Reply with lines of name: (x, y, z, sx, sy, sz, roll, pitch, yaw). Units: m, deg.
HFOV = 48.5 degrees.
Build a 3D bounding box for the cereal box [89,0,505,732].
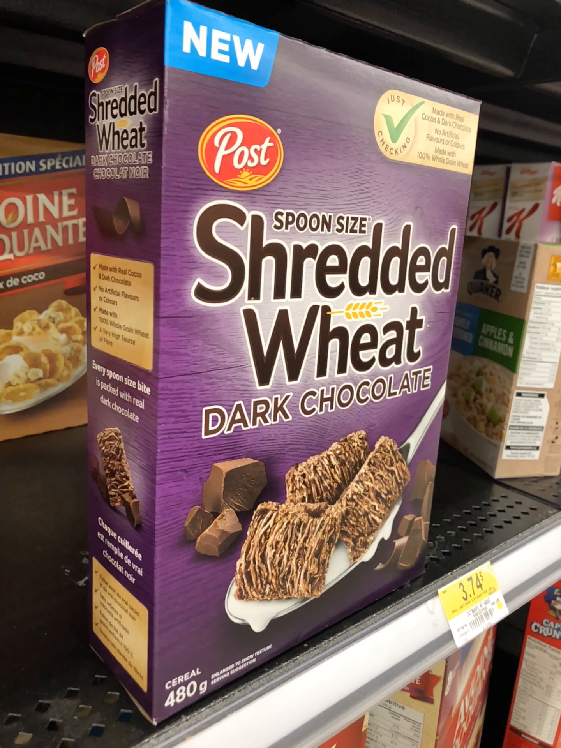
cereal box: (0.013, -0.004, 0.310, 0.200, 0.269, 0.060, -9, 19, -42)
